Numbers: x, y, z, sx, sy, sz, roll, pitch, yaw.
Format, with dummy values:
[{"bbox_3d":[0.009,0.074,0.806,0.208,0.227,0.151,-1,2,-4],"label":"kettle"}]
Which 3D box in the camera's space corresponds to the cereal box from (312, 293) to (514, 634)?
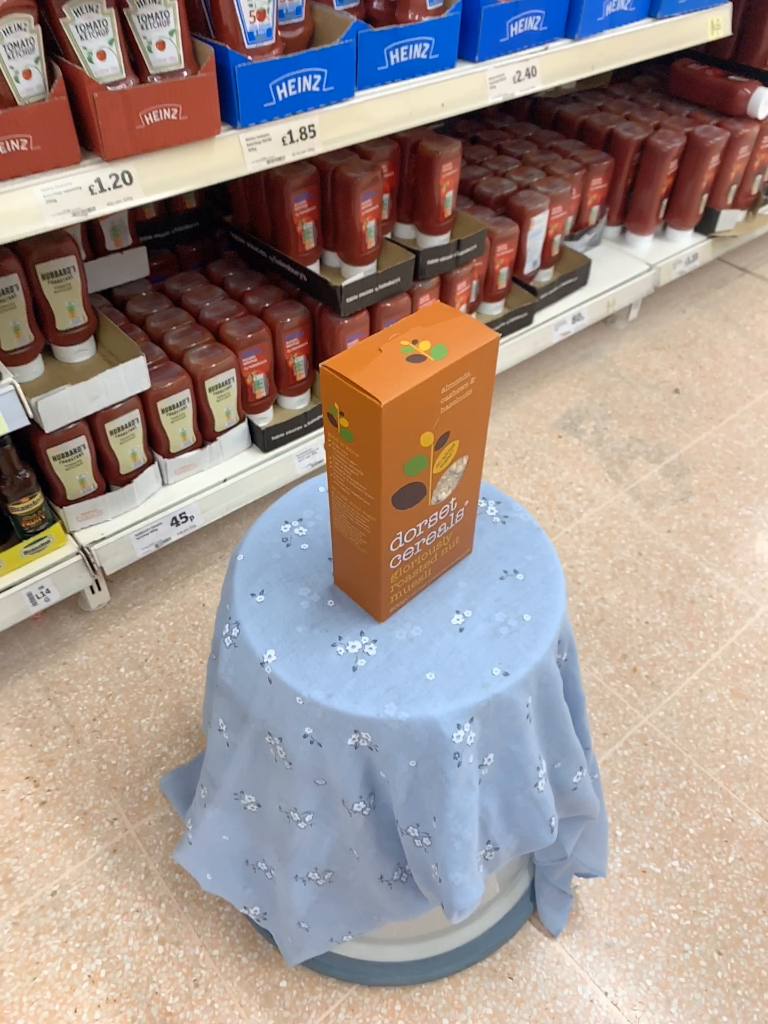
[{"bbox_3d":[0.019,-0.030,0.603,0.121,0.228,0.070,-34,55,-30],"label":"cereal box"}]
